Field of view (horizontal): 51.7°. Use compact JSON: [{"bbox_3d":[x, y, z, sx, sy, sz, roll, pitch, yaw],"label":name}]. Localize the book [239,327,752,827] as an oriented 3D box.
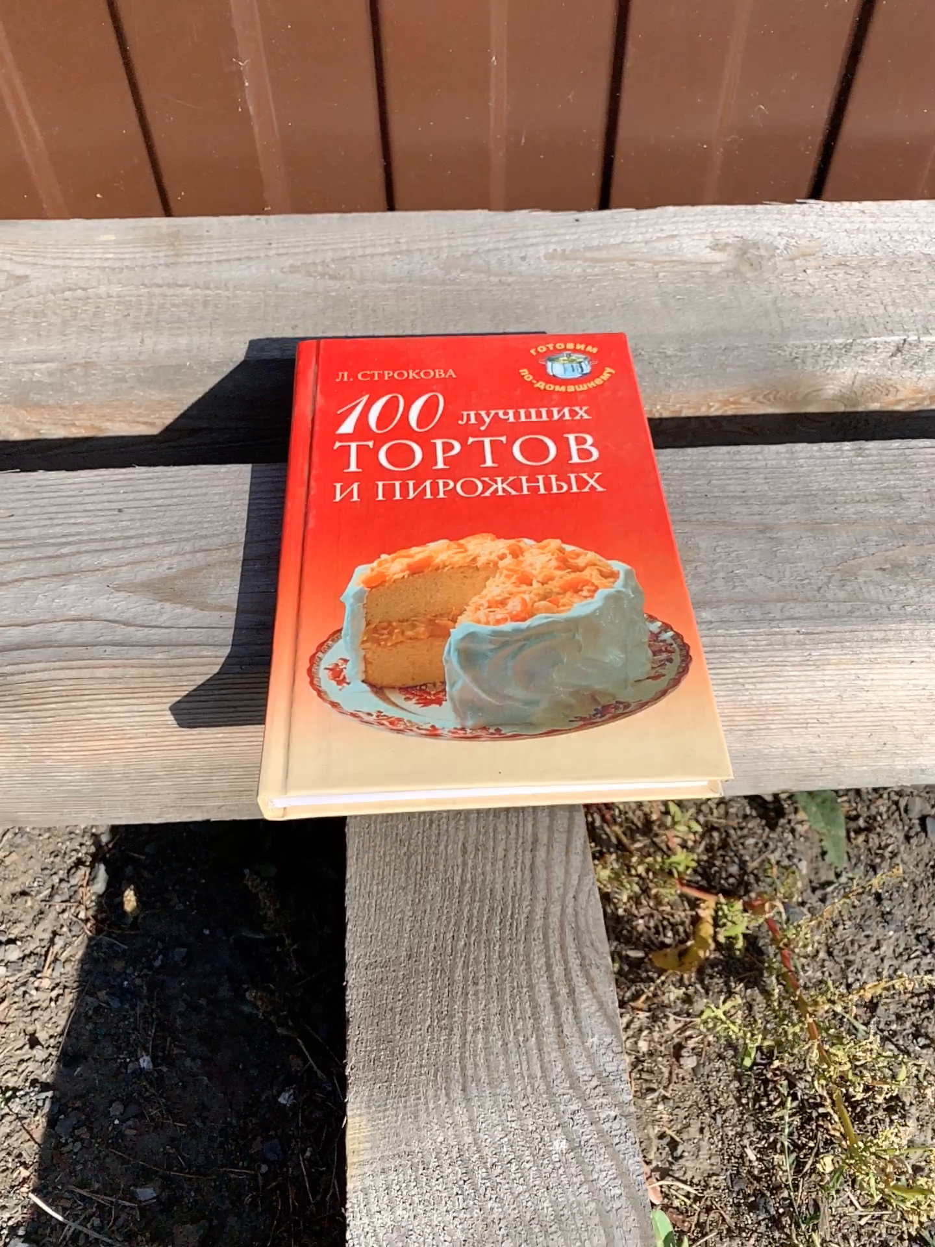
[{"bbox_3d":[0.003,-0.034,0.344,0.143,0.017,0.219,-2,50,-2],"label":"book"}]
